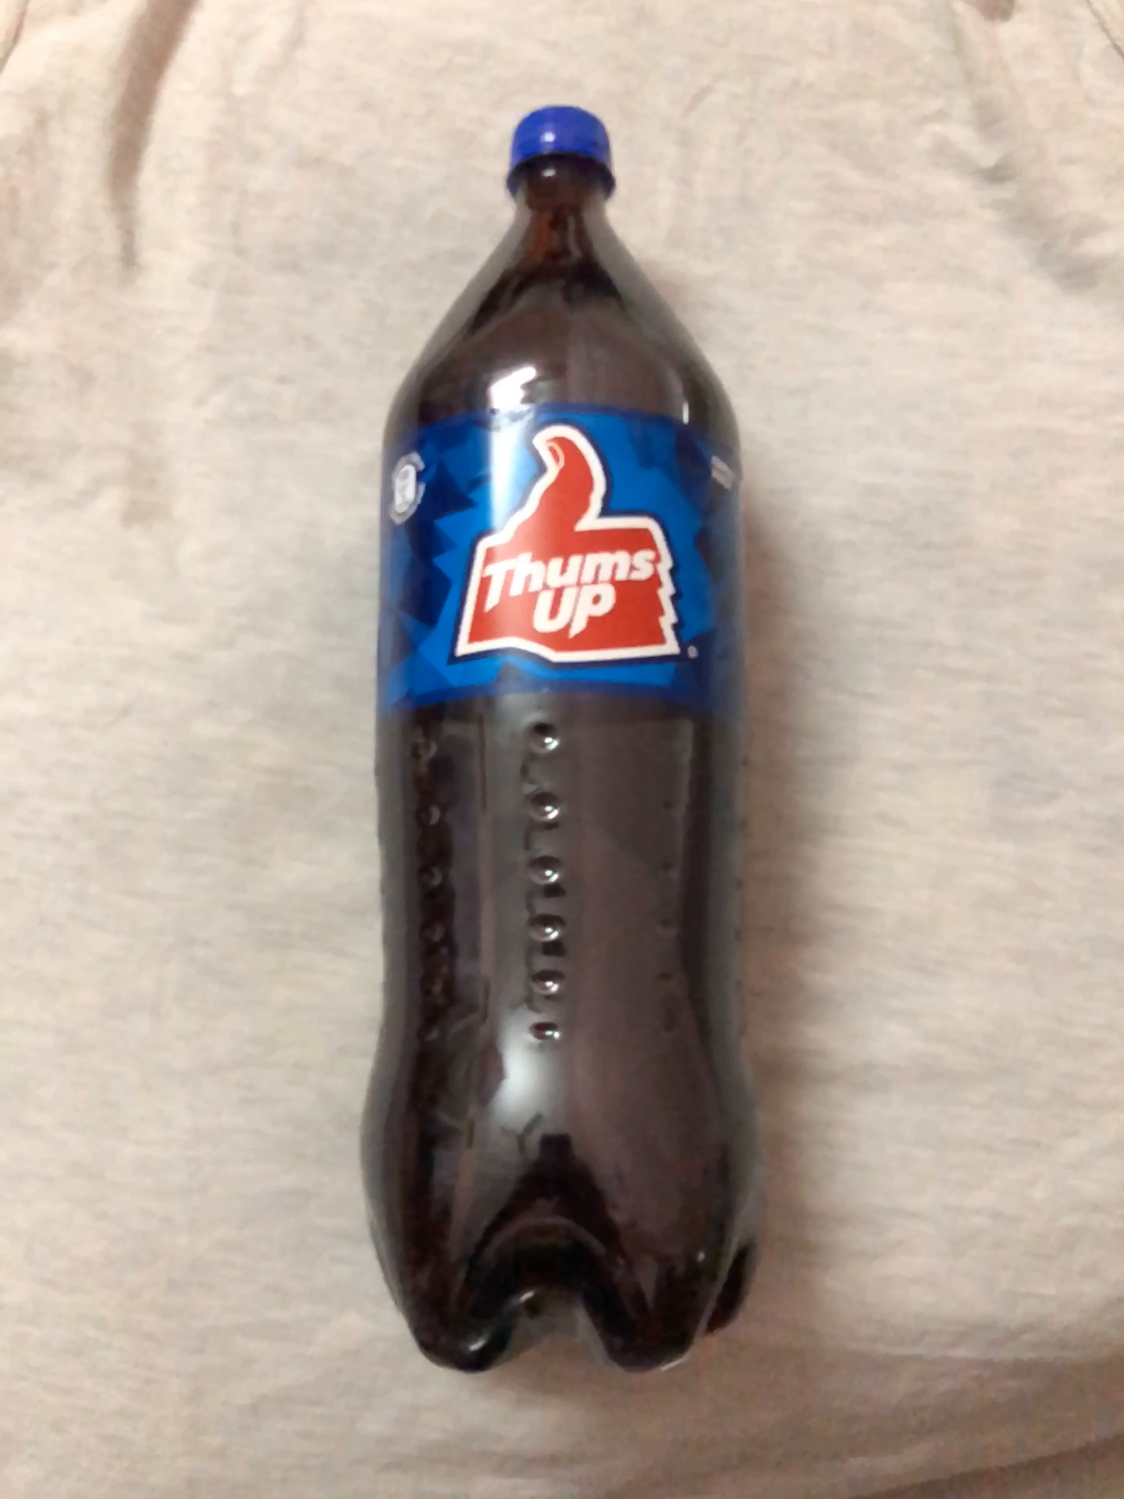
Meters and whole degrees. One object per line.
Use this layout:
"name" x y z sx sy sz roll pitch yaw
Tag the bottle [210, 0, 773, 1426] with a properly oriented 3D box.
"bottle" -0.015 -0.022 0.282 0.100 0.060 0.300 -1 79 1
